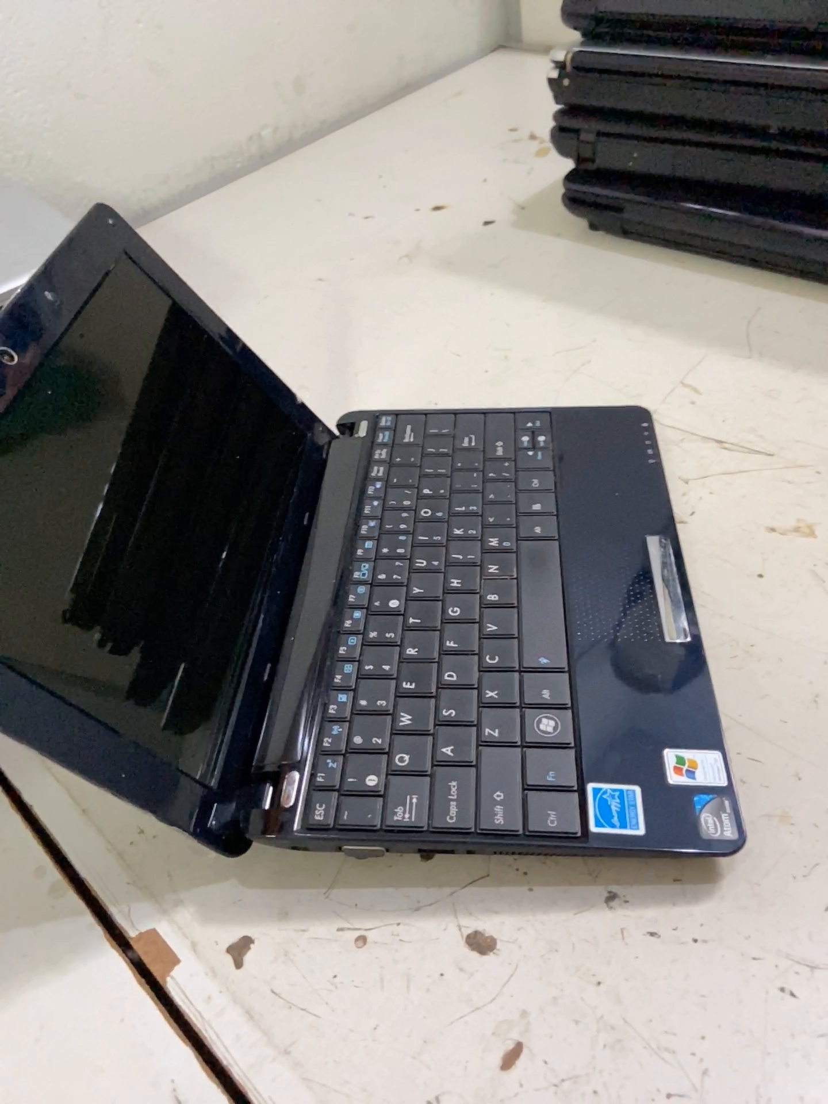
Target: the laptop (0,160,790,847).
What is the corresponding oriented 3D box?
[{"bbox_3d":[-0.027,-0.040,0.354,0.272,0.133,0.261,-1,44,7],"label":"laptop"}]
